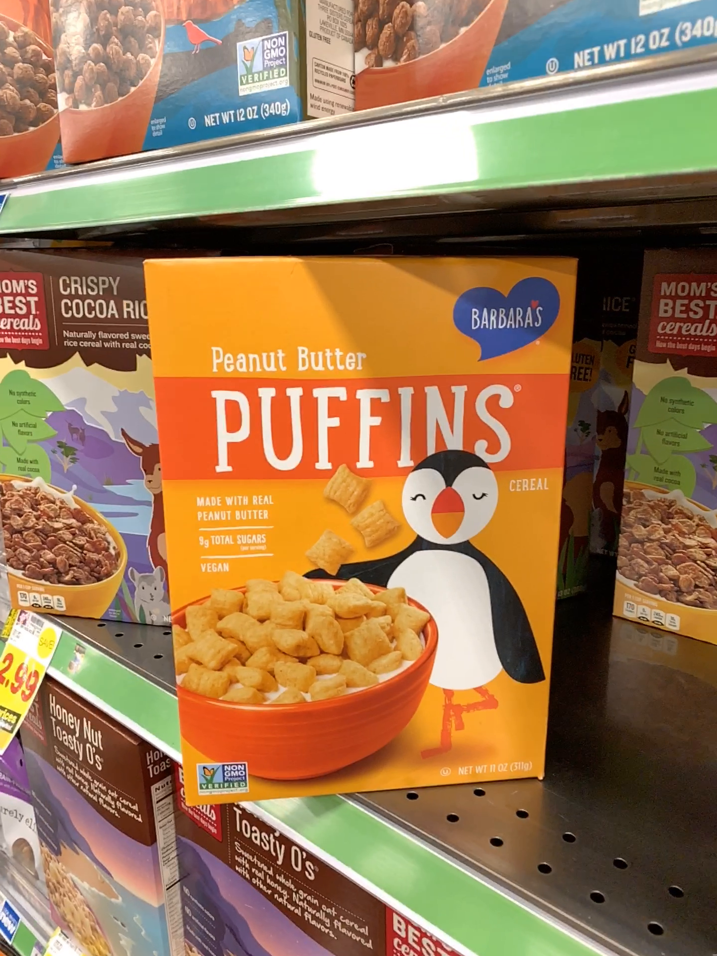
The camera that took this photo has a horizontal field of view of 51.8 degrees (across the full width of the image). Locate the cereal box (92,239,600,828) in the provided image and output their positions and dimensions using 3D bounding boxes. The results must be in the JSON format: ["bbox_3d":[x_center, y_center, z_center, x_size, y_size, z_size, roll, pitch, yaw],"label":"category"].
[{"bbox_3d":[-0.005,0.027,0.379,0.220,0.279,0.060,-2,14,-9],"label":"cereal box"}]
